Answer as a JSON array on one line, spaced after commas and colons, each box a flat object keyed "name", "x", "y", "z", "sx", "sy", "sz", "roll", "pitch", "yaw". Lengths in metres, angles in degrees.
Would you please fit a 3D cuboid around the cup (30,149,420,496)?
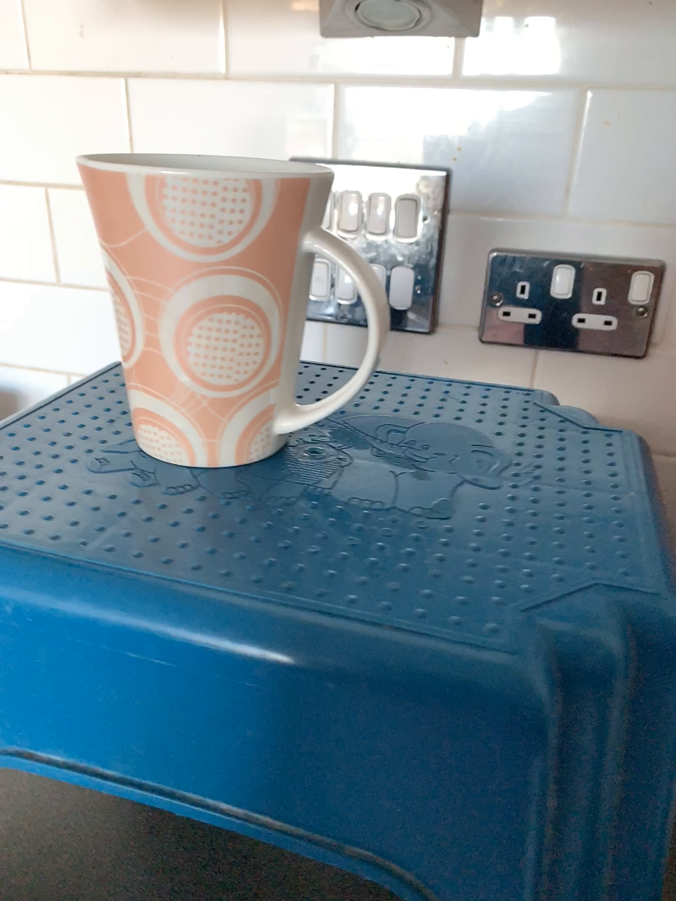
[{"name": "cup", "x": -0.037, "y": -0.056, "z": 0.271, "sx": 0.116, "sy": 0.105, "sz": 0.078, "roll": 9, "pitch": 26, "yaw": 13}]
